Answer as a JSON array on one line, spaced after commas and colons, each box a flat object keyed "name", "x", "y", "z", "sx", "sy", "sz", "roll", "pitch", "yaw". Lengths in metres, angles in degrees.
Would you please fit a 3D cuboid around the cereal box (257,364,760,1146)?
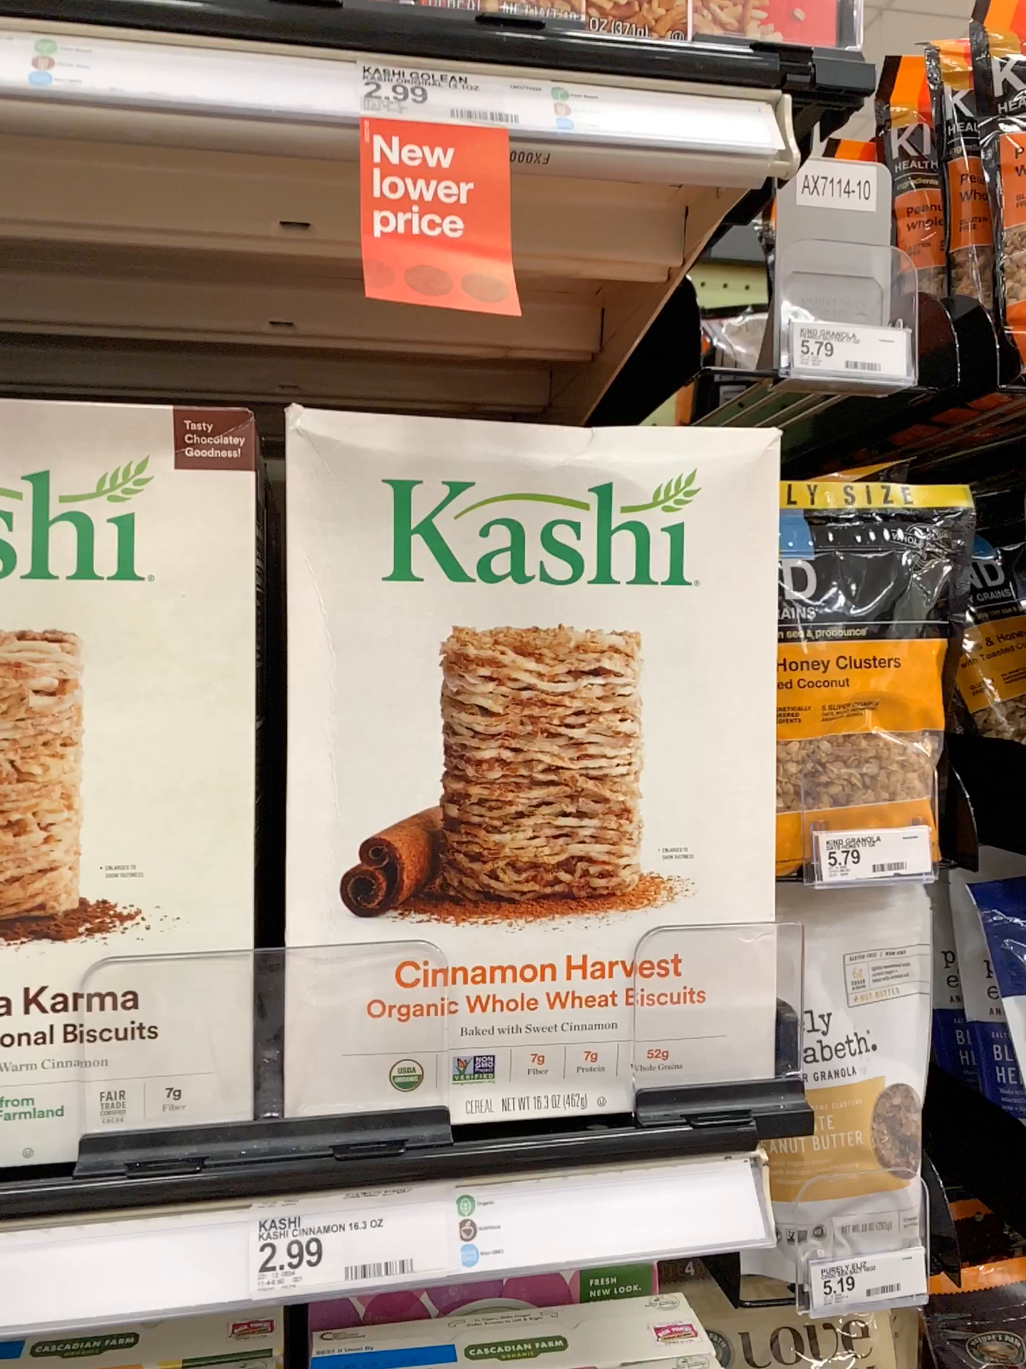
[{"name": "cereal box", "x": -0.004, "y": 0.024, "z": 0.430, "sx": 0.190, "sy": 0.280, "sz": 0.070, "roll": 0, "pitch": 0, "yaw": -10}]
